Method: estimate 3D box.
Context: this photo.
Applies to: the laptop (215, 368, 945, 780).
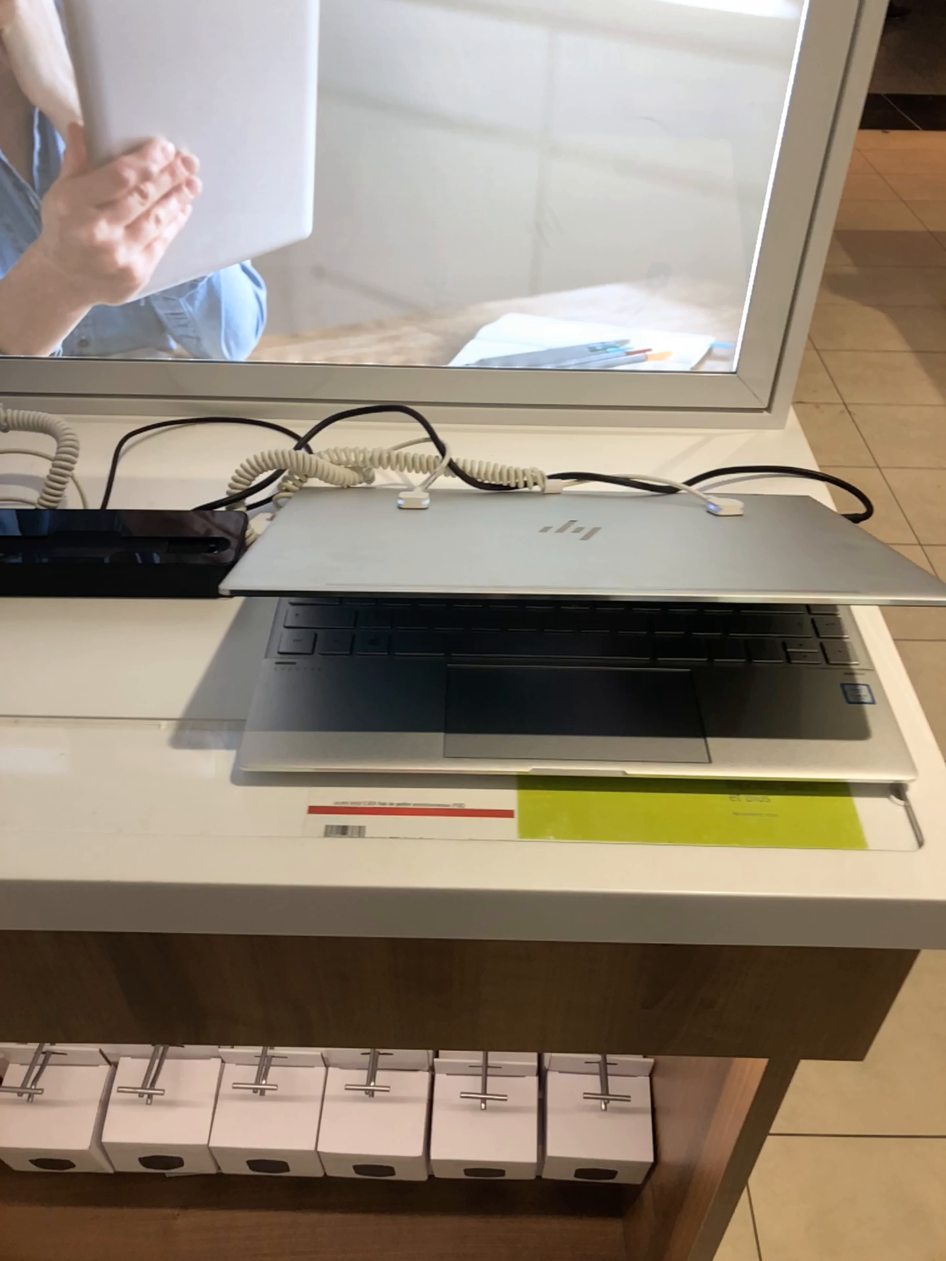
[{"bbox_3d":[0.048,-0.038,0.513,0.298,0.078,0.212,1,42,0],"label":"laptop"}]
